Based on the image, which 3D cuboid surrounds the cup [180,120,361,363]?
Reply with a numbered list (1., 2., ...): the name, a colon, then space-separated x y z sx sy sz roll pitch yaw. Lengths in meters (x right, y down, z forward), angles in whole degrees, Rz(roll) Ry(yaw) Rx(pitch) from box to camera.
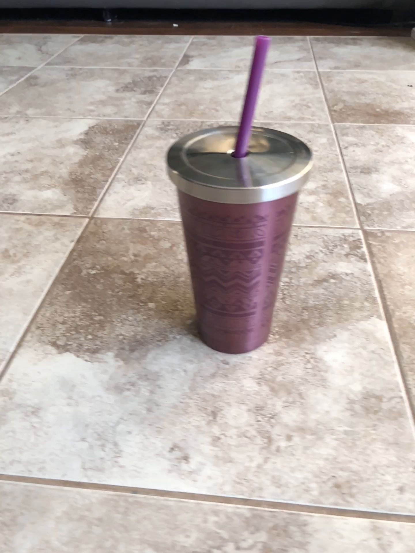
1. cup: 0.038 -0.026 0.374 0.111 0.165 0.103 -1 38 0
